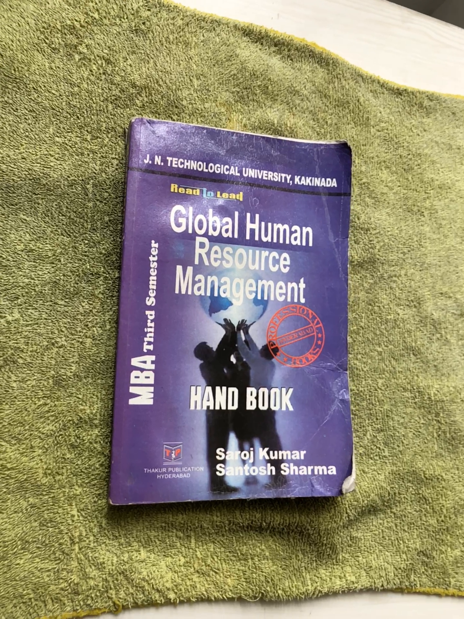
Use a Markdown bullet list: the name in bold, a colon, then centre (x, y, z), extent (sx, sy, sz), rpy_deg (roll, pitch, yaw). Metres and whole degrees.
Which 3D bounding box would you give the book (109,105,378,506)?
- **book**: centre (0.008, -0.001, 0.294), extent (0.140, 0.040, 0.200), rpy_deg (3, 82, -16)
